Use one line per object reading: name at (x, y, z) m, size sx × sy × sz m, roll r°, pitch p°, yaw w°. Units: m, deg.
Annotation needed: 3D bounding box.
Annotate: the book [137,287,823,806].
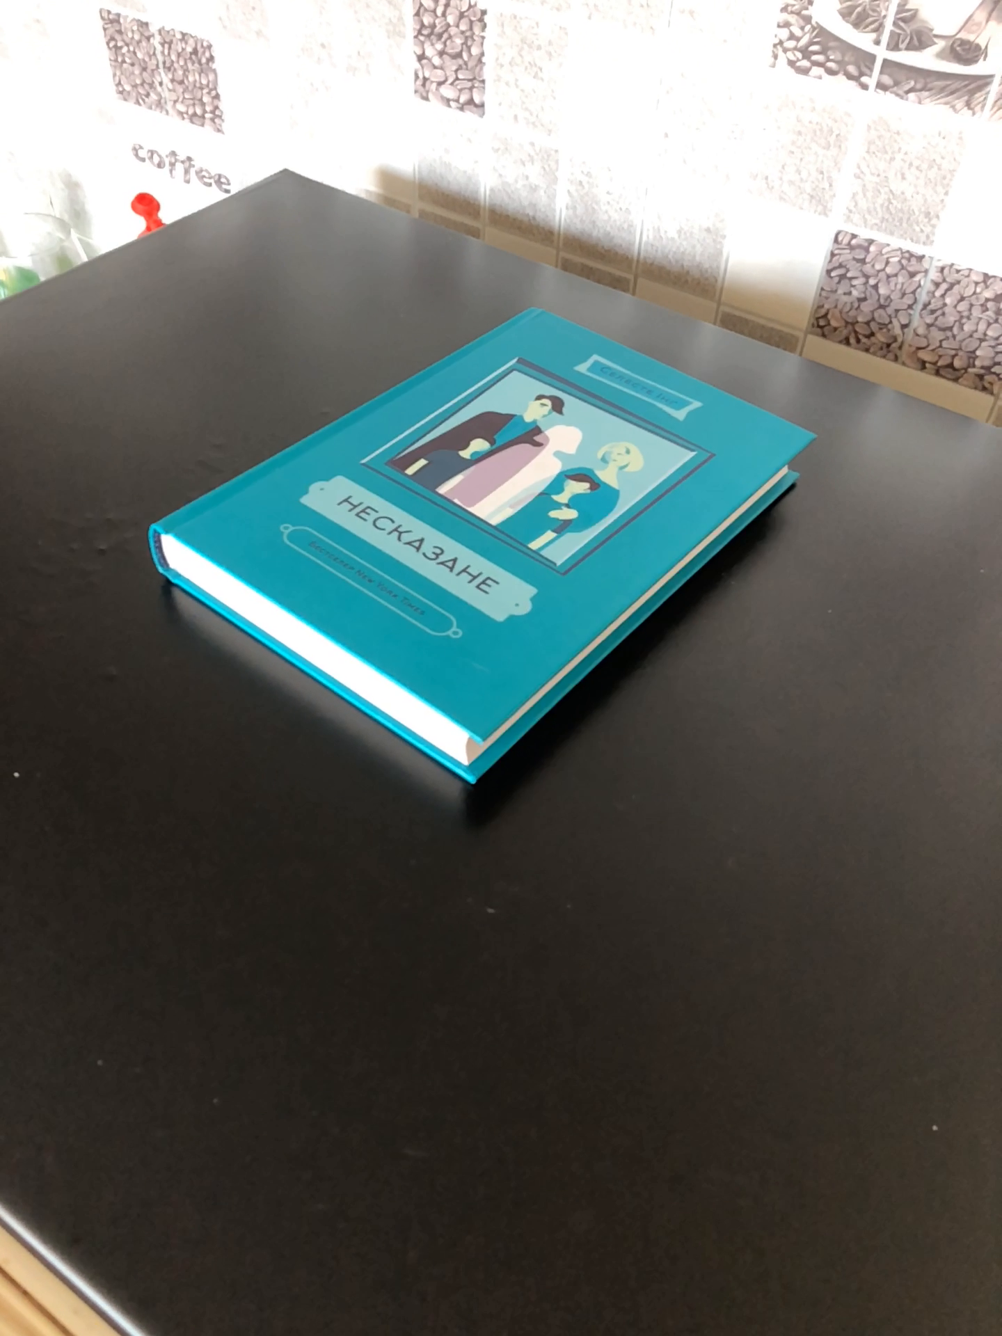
book at (0.000, -0.064, 0.411) m, size 0.150 × 0.030 × 0.211 m, roll 32°, pitch 53°, yaw 23°
